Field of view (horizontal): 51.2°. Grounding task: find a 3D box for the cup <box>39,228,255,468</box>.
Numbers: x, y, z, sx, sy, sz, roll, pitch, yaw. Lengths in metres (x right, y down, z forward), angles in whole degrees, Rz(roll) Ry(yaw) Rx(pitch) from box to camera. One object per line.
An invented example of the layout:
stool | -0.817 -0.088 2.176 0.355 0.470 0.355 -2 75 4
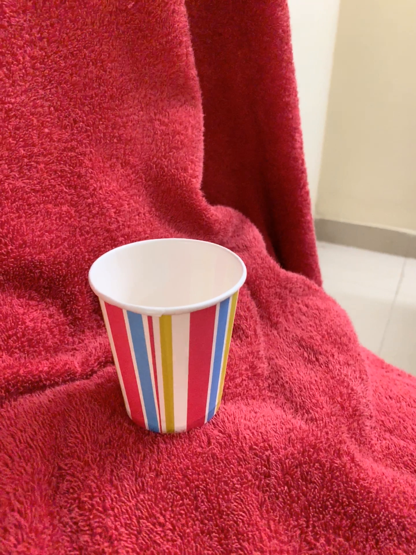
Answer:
cup | -0.019 0.026 0.193 0.070 0.069 0.071 0 27 0
